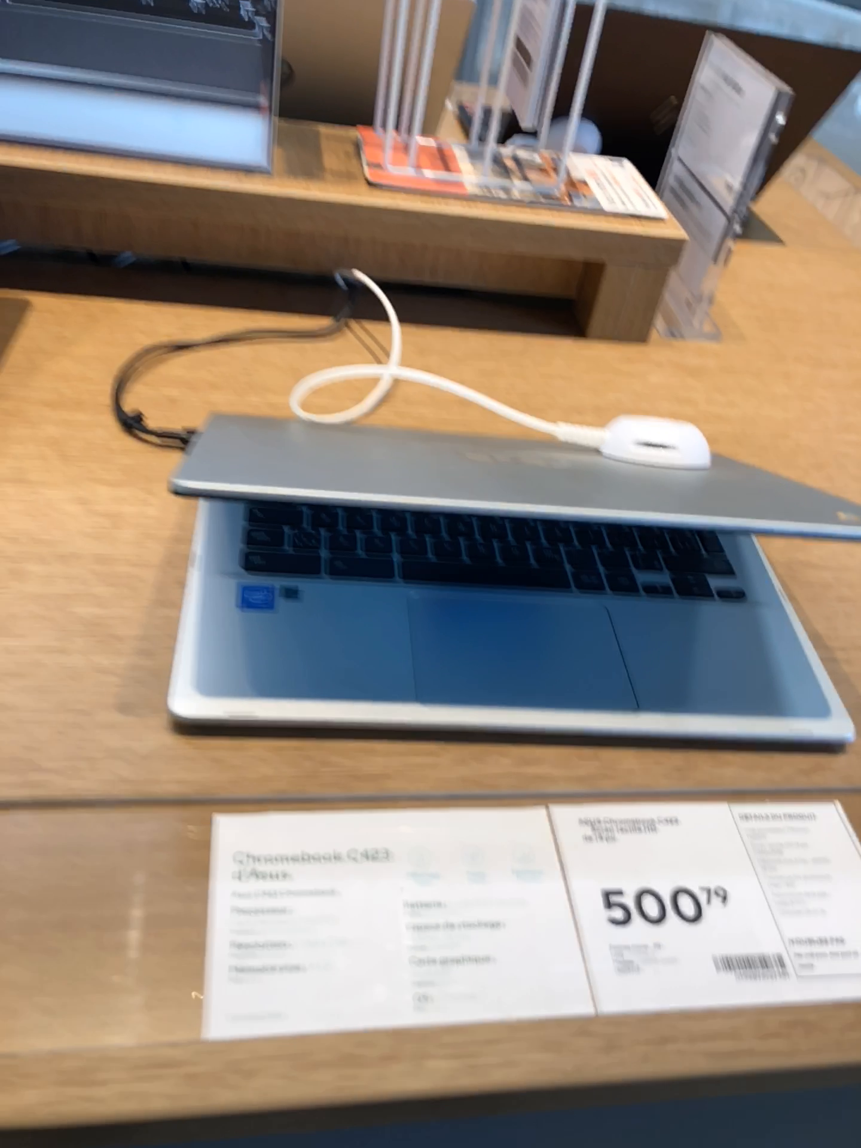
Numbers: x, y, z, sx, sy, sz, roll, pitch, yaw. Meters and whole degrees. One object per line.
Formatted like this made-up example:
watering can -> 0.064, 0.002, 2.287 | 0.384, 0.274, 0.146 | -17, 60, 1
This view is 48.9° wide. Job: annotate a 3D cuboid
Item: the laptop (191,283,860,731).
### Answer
laptop -> 0.048, -0.037, 0.469 | 0.304, 0.080, 0.207 | 4, 44, -11
